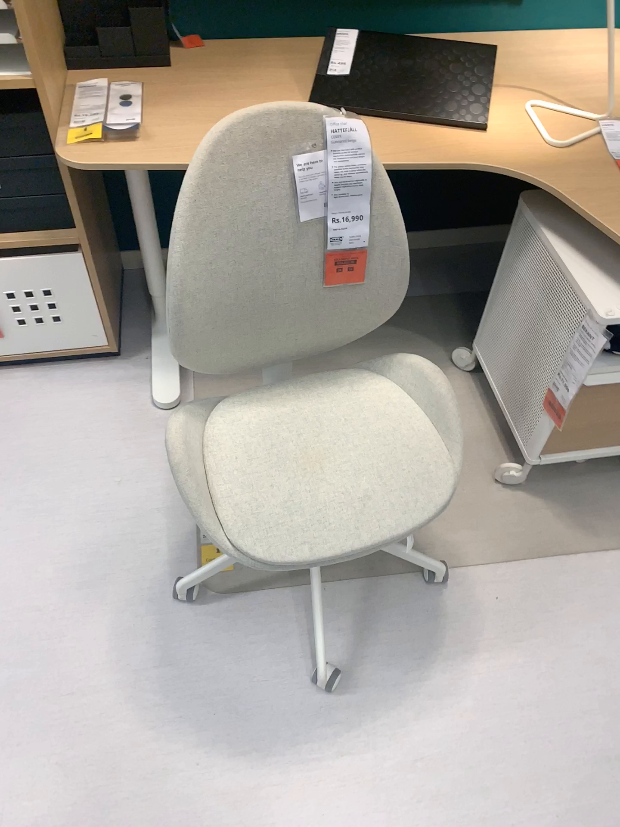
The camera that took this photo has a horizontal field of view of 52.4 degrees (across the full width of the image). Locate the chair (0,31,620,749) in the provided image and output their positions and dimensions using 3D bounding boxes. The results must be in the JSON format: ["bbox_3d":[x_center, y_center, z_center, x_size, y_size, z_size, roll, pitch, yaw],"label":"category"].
[{"bbox_3d":[-0.032,0.022,1.111,0.630,0.997,0.642,-14,52,-14],"label":"chair"}]
